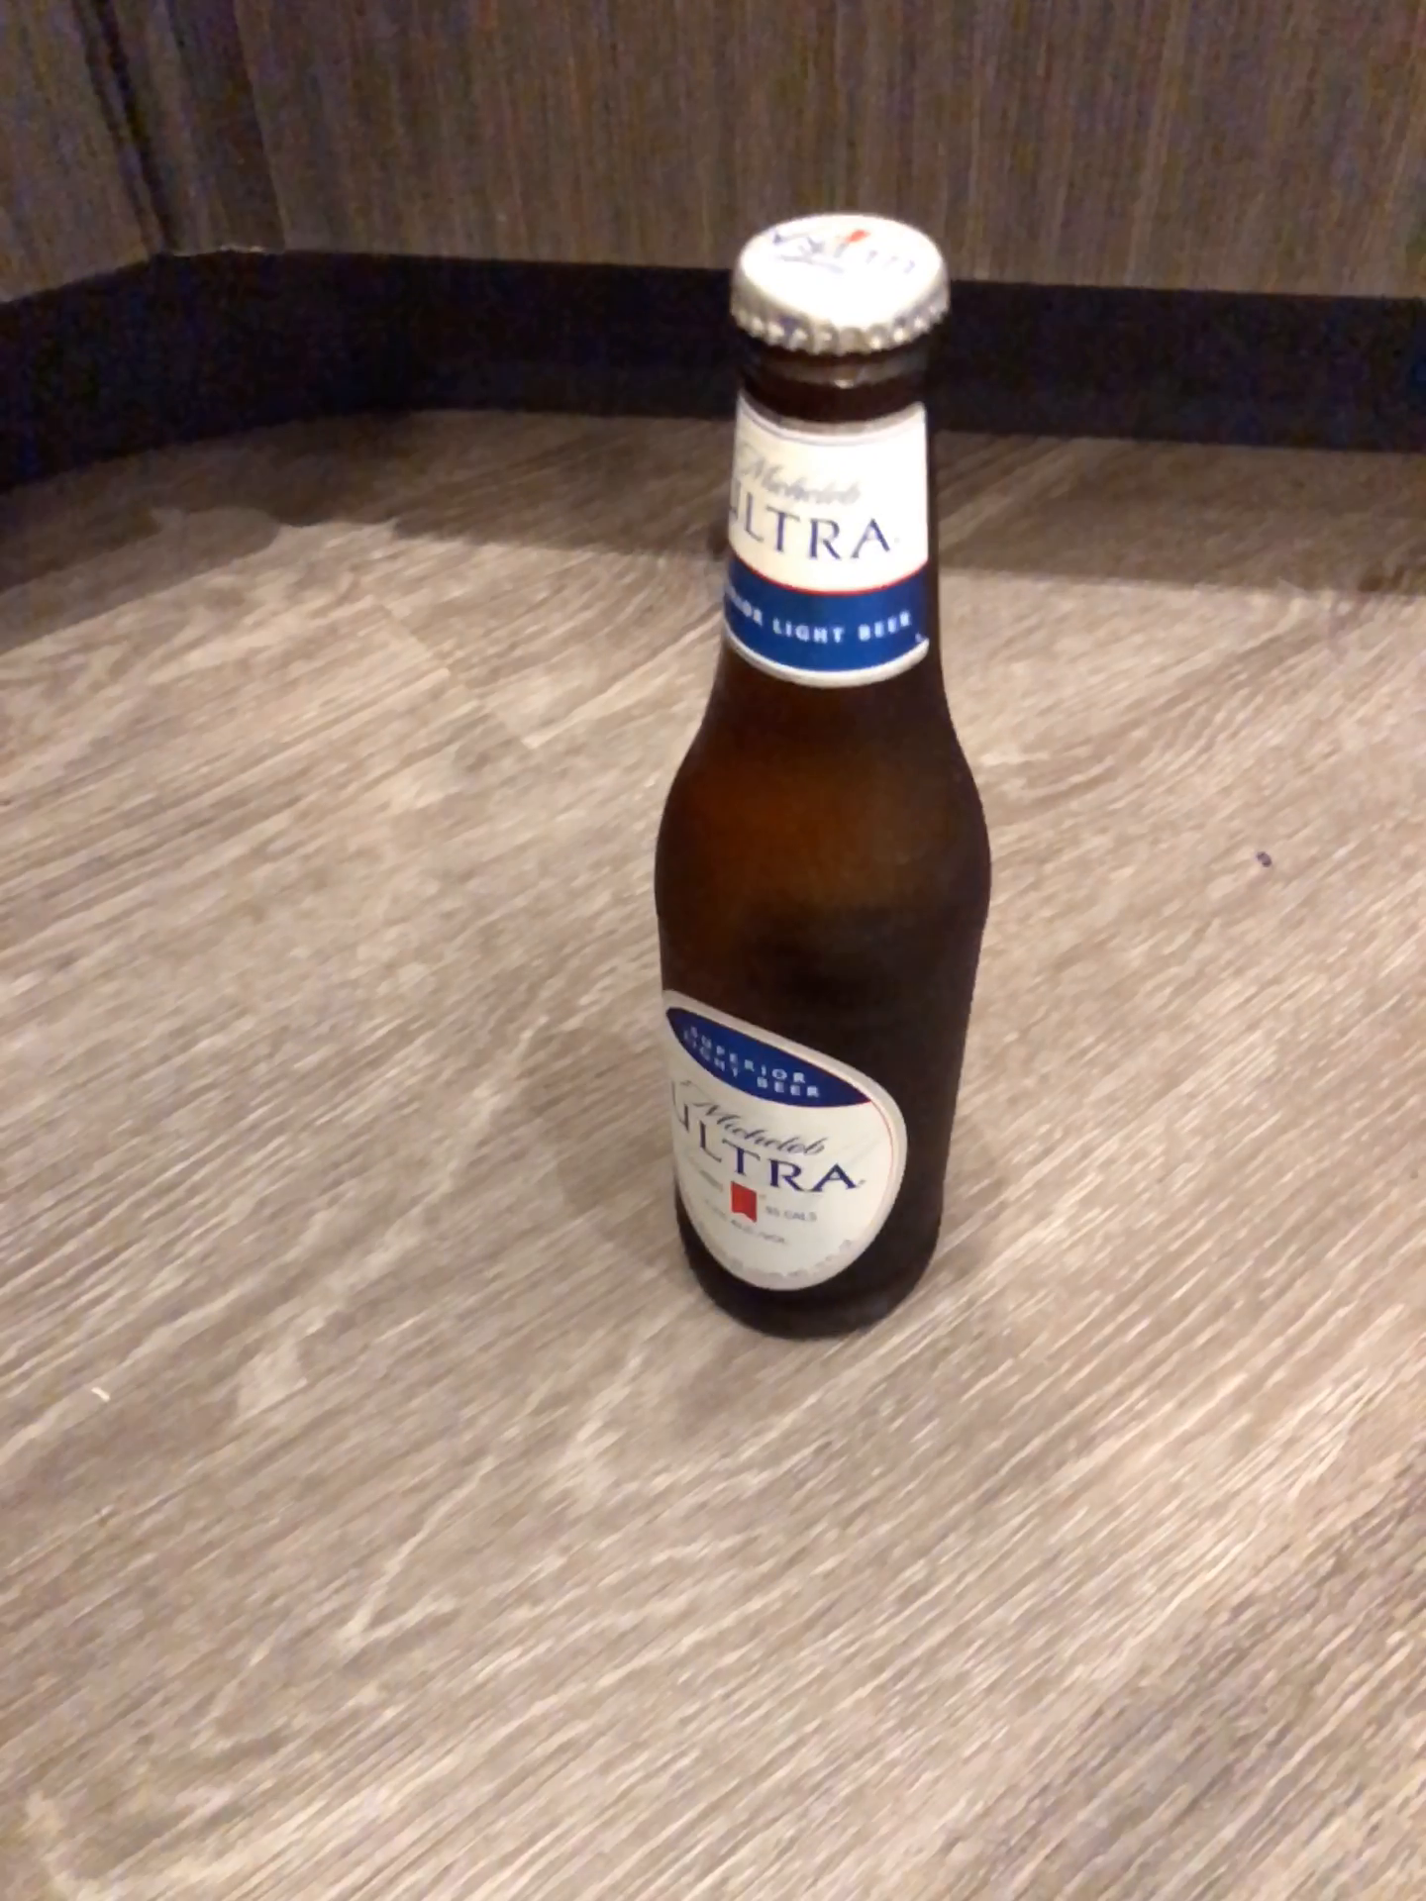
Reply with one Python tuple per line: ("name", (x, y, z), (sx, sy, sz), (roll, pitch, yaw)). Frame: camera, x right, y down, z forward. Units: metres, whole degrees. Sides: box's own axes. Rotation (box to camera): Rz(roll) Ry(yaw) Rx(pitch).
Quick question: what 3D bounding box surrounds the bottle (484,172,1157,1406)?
("bottle", (0.017, -0.009, 0.275), (0.060, 0.209, 0.060), (-1, 47, 1))
